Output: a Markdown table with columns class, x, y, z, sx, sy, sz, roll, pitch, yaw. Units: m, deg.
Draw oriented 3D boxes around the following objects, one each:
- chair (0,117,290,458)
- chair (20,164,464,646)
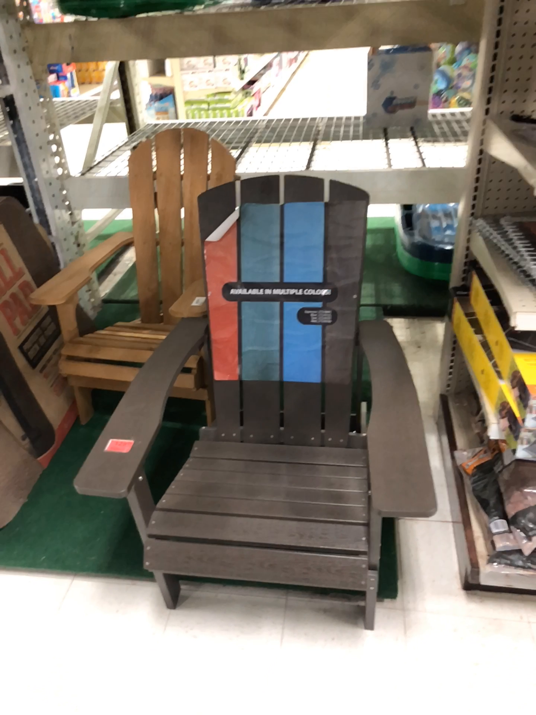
| class | x | y | z | sx | sy | sz | roll | pitch | yaw |
| --- | --- | --- | --- | --- | --- | --- | --- | --- | --- |
| chair | -0.351 | -0.322 | 2.139 | 0.637 | 0.846 | 0.979 | 5 | 34 | 14 |
| chair | 0.028 | 0.044 | 1.526 | 0.717 | 0.816 | 0.919 | 2 | 34 | 9 |
